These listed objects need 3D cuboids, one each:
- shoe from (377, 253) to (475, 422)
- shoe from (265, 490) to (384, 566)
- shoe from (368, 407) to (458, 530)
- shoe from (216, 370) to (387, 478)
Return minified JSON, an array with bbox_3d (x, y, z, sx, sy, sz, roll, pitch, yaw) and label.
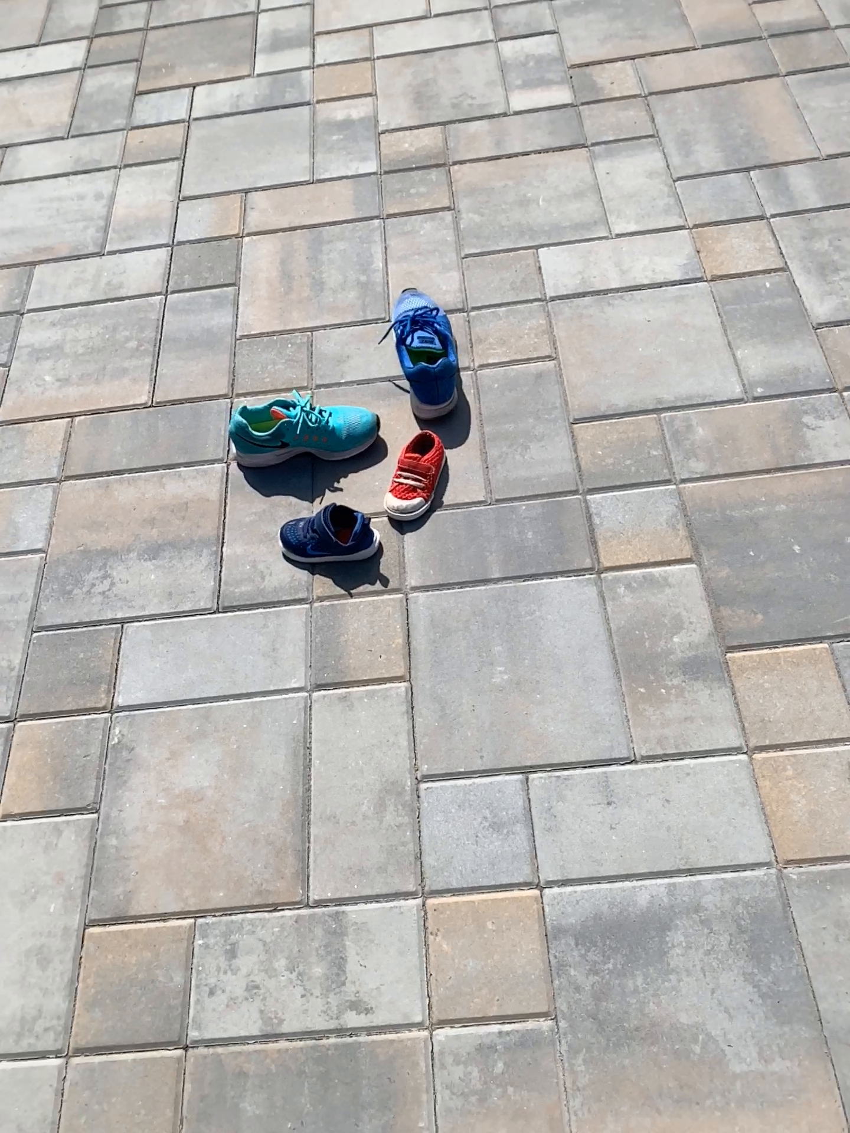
[{"bbox_3d":[0.001,-0.365,1.384,0.110,0.110,0.241,-10,59,0],"label":"shoe"},{"bbox_3d":[-0.139,-0.054,1.234,0.150,0.070,0.080,0,59,6],"label":"shoe"},{"bbox_3d":[-0.015,-0.145,1.280,0.080,0.080,0.150,14,62,14],"label":"shoe"},{"bbox_3d":[-0.185,-0.217,1.337,0.240,0.100,0.100,-5,59,3],"label":"shoe"}]
